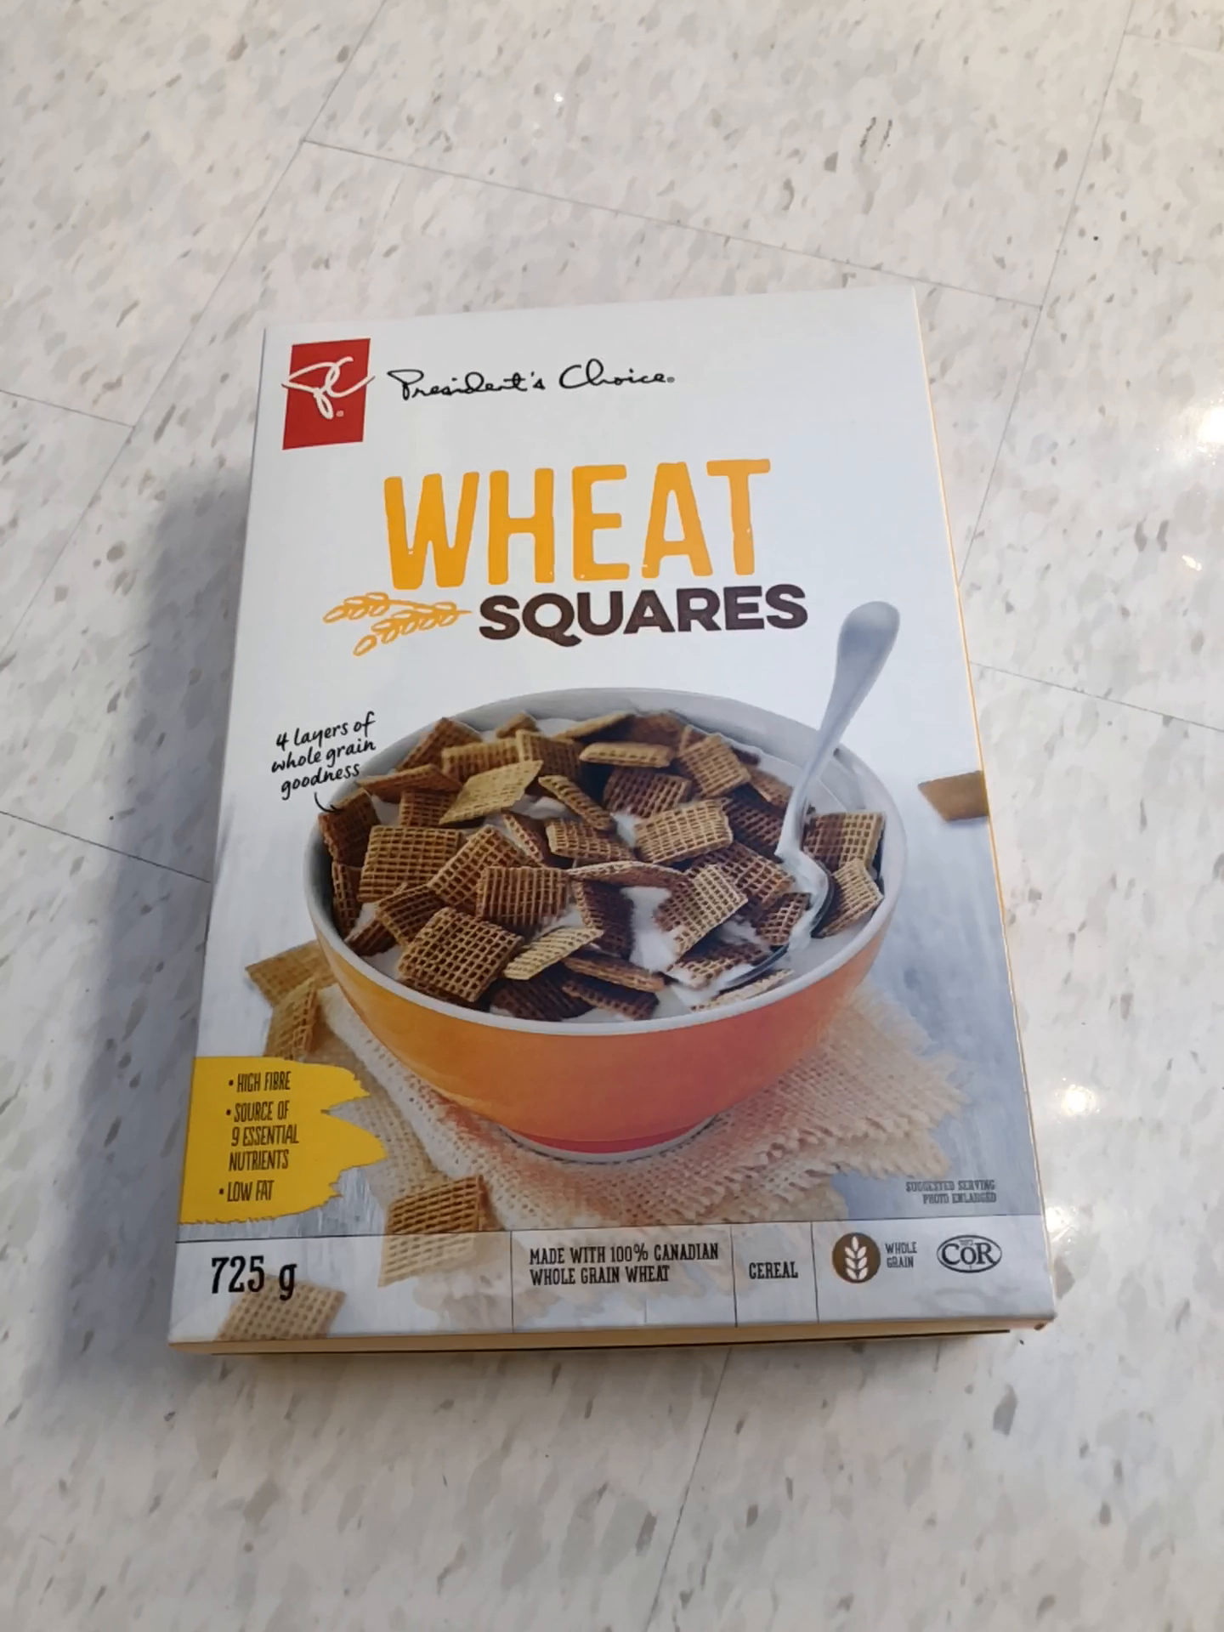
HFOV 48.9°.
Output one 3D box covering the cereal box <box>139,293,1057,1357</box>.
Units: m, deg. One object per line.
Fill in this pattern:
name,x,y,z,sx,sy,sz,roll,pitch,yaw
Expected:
cereal box,-0.006,-0.004,0.388,0.200,0.080,0.291,-2,66,2
